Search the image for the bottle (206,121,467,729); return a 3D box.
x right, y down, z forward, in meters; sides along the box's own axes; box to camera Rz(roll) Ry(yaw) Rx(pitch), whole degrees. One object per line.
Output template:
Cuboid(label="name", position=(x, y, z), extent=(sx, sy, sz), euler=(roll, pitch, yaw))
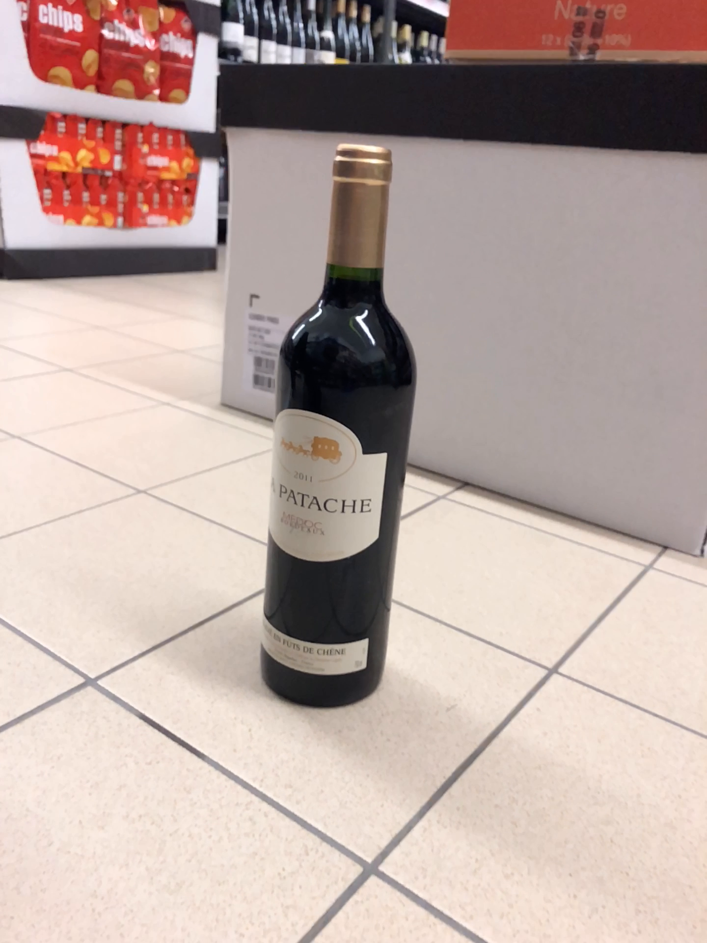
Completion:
Cuboid(label="bottle", position=(-0.014, -0.022, 0.413), extent=(0.090, 0.289, 0.080), euler=(14, 21, 24))
